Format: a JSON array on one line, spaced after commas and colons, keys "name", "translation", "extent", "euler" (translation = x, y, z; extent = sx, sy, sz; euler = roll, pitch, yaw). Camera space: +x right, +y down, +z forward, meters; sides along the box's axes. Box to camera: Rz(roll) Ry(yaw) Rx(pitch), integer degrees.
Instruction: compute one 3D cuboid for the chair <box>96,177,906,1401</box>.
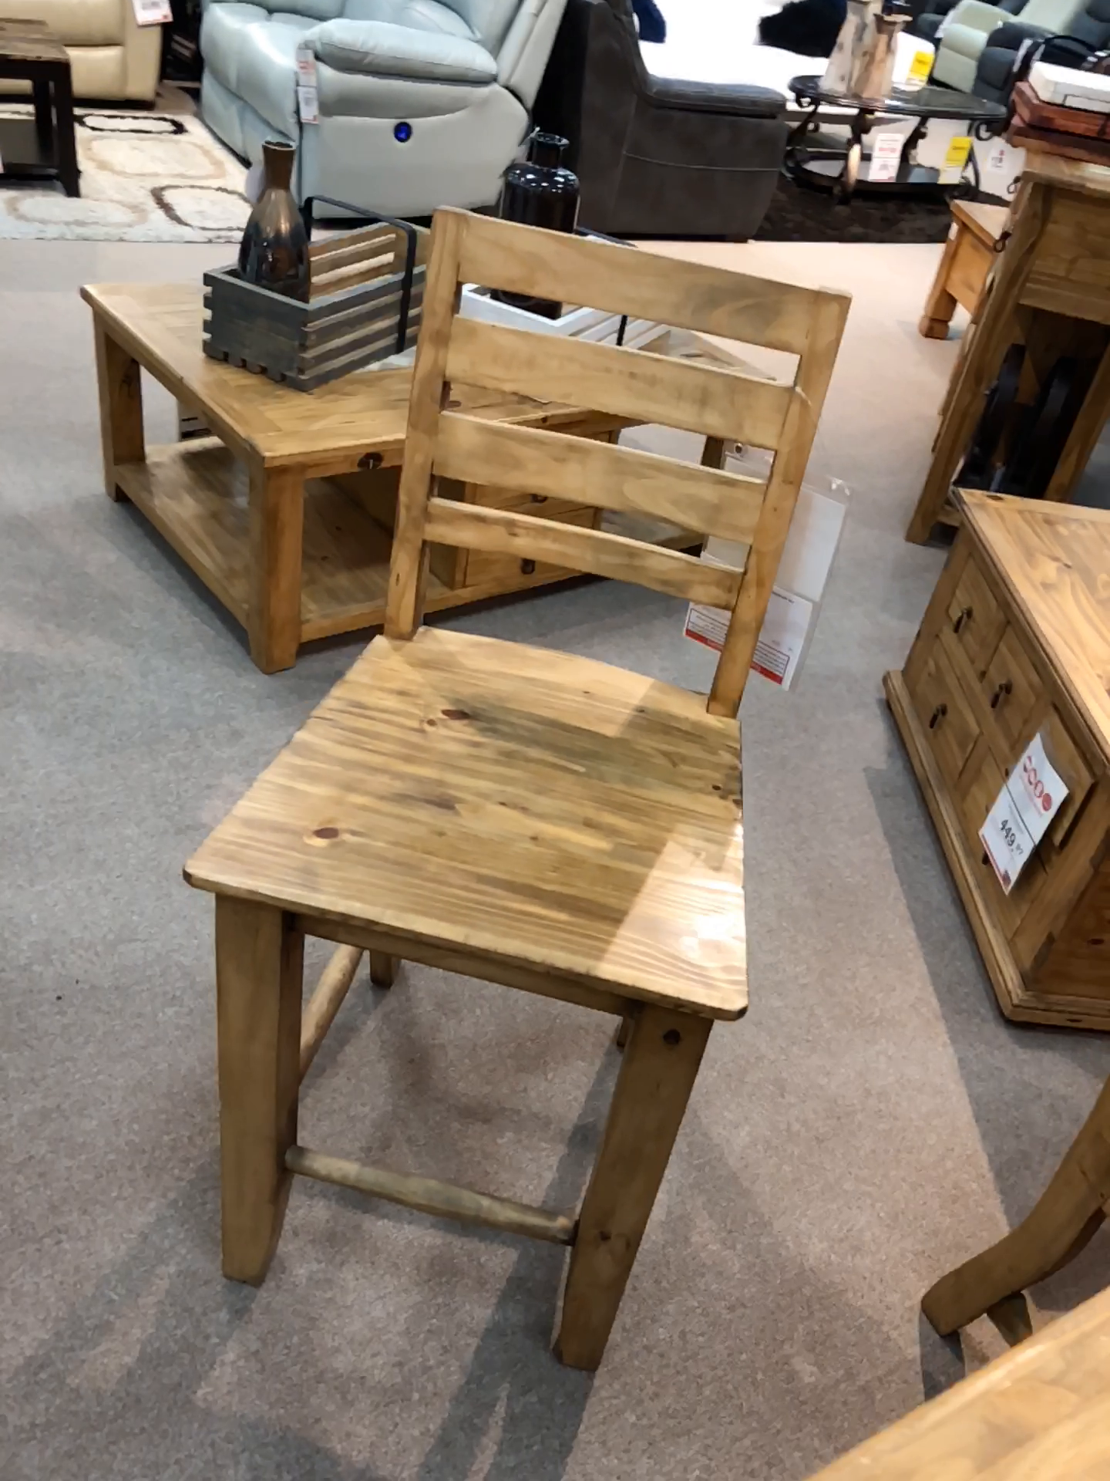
[{"name": "chair", "translation": [-0.055, 0.085, 1.190], "extent": [0.470, 1.013, 0.524], "euler": [13, 37, 4]}]
